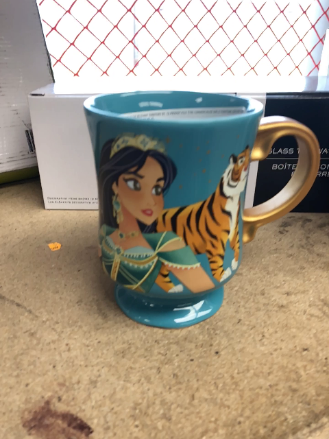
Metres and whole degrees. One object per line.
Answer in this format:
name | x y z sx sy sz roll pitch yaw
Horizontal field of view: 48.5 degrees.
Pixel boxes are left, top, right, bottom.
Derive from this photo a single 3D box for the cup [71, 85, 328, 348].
cup | 0.023 -0.012 0.228 0.140 0.120 0.099 -5 27 -9
